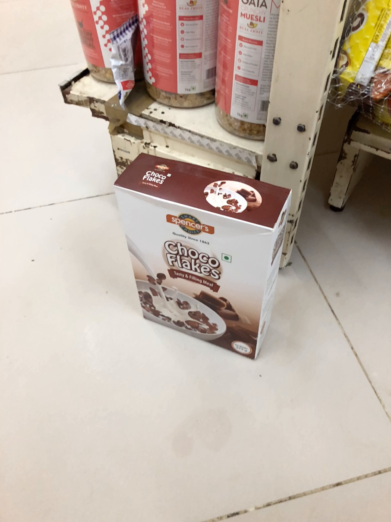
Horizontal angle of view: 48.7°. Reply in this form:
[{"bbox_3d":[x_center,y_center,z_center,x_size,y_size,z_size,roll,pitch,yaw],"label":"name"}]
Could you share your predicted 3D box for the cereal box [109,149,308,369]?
[{"bbox_3d":[0.017,0.010,0.525,0.190,0.259,0.060,18,52,18],"label":"cereal box"}]
